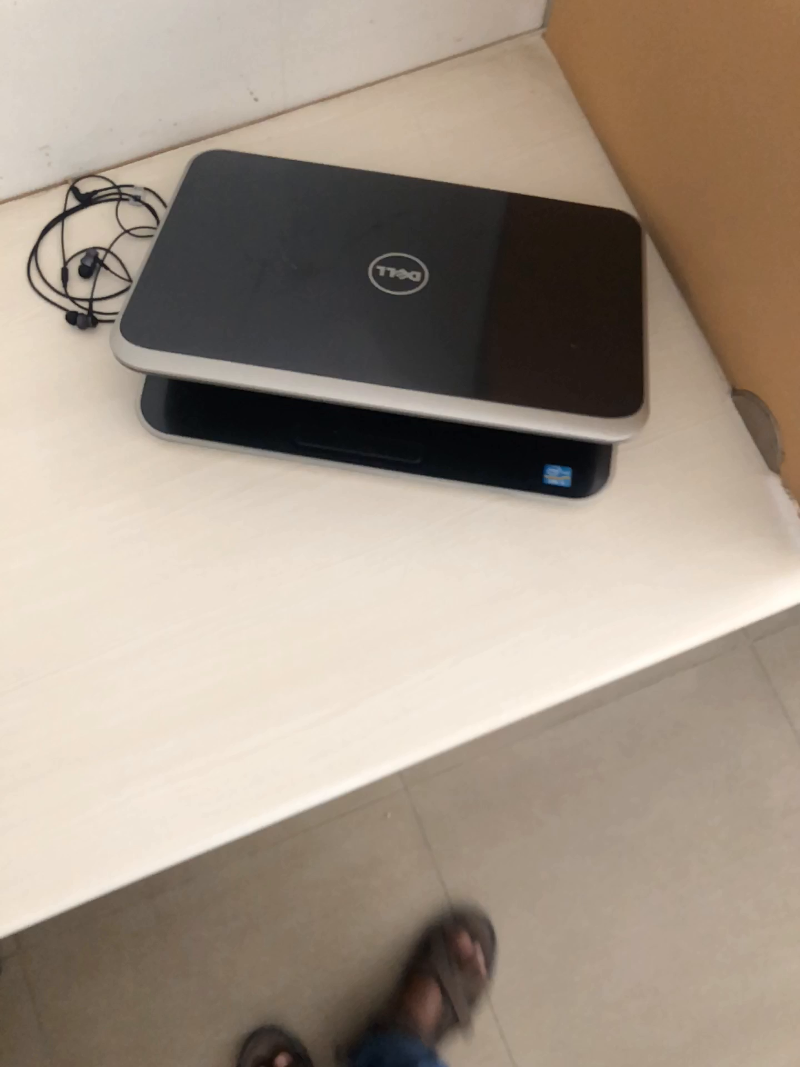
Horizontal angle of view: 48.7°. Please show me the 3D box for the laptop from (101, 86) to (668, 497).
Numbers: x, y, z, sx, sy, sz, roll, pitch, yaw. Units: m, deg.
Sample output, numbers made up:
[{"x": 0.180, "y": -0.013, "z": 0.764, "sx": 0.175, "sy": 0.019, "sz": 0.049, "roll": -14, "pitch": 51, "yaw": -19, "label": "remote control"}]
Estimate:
[{"x": -0.002, "y": -0.179, "z": 0.660, "sx": 0.357, "sy": 0.094, "sz": 0.238, "roll": 9, "pitch": 73, "yaw": 1, "label": "laptop"}]
